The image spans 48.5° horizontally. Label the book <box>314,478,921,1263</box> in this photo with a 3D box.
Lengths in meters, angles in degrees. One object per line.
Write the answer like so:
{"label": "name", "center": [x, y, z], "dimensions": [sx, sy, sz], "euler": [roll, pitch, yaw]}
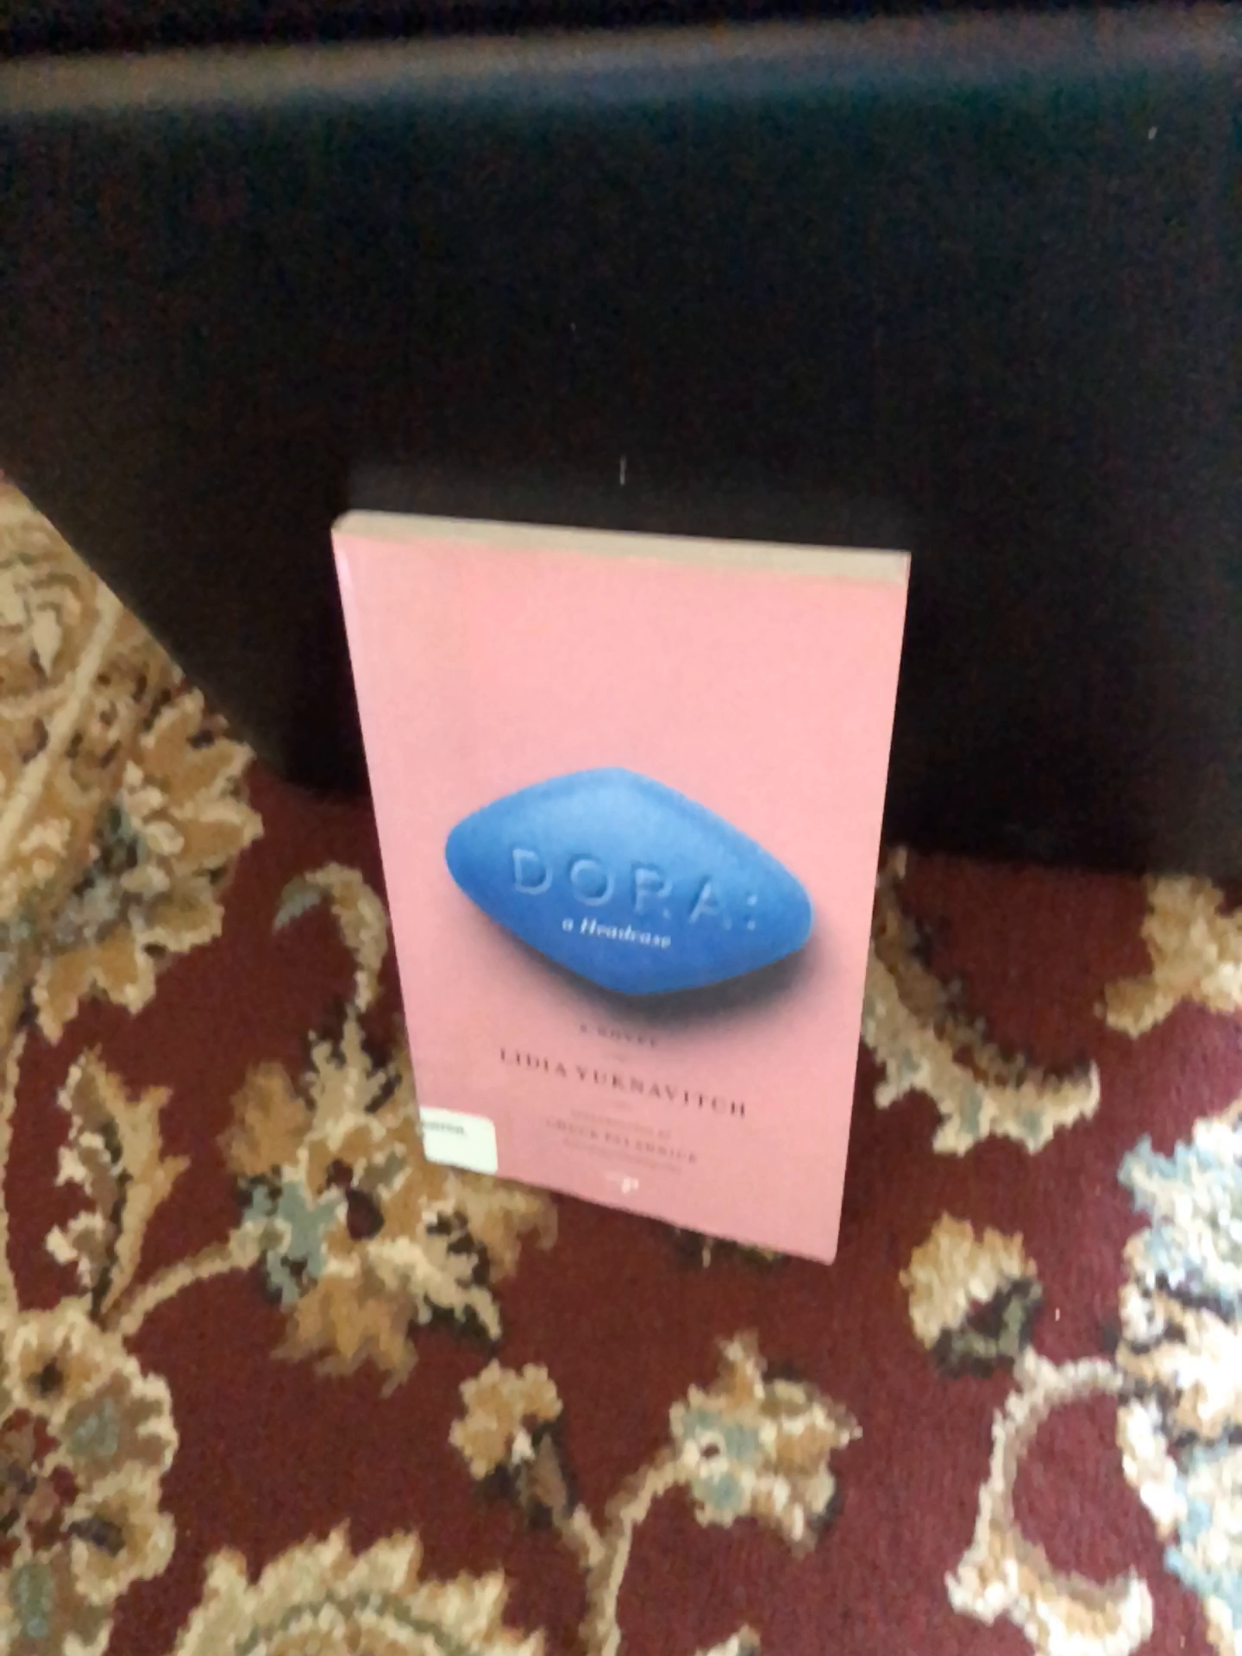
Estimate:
{"label": "book", "center": [-0.002, 0.022, 0.406], "dimensions": [0.149, 0.231, 0.030], "euler": [10, 35, 15]}
